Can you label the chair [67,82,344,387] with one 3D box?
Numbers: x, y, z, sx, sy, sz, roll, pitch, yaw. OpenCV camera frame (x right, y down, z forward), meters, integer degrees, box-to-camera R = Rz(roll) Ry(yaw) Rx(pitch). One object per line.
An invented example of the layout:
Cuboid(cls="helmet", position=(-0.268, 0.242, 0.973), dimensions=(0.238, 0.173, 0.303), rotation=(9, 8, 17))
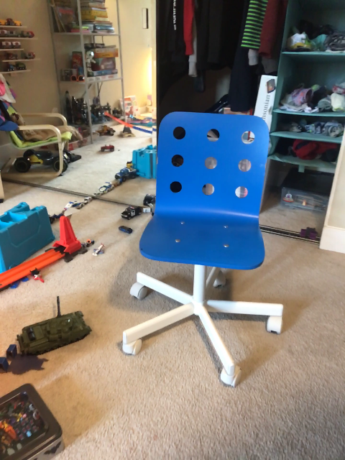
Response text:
Cuboid(cls="chair", position=(0.073, 0.004, 0.992), dimensions=(0.520, 0.705, 0.363), rotation=(2, 26, 3))
